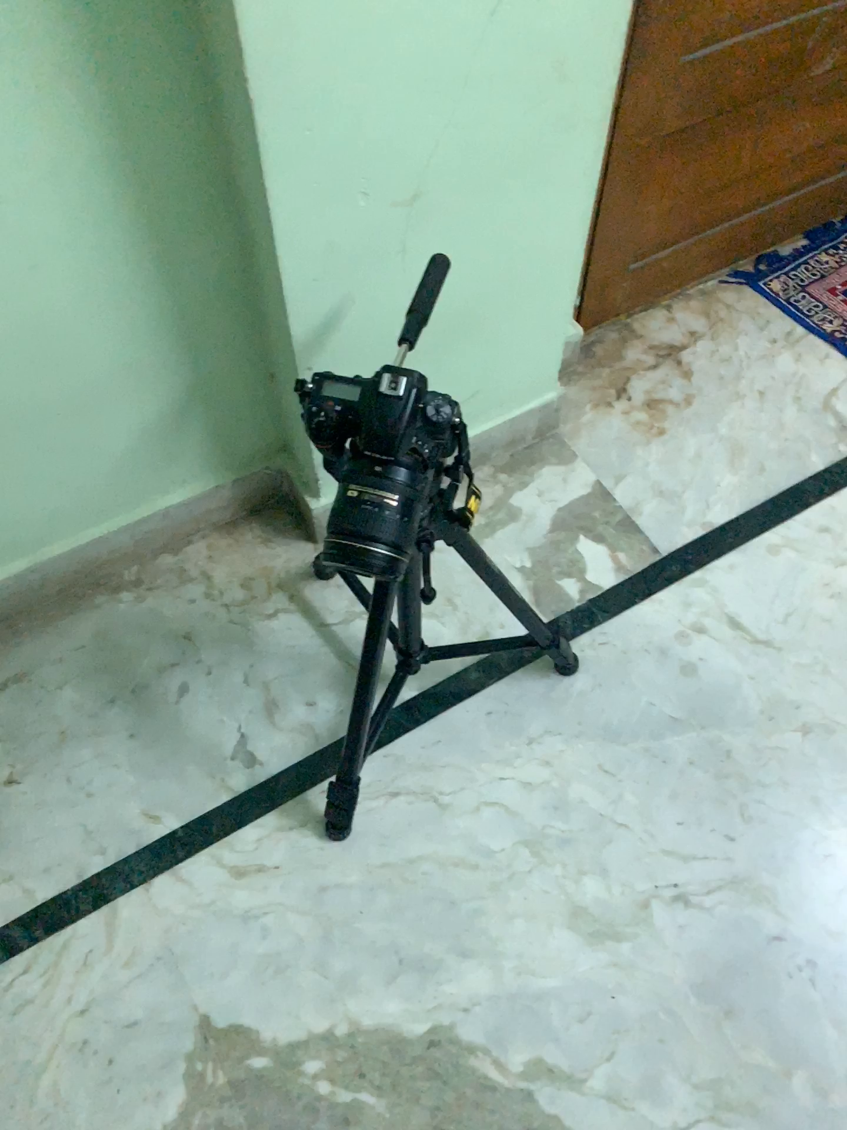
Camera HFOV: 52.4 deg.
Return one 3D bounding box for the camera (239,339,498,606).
[{"bbox_3d":[-0.041,-0.078,0.764,0.170,0.110,0.180,14,83,9],"label":"camera"}]
